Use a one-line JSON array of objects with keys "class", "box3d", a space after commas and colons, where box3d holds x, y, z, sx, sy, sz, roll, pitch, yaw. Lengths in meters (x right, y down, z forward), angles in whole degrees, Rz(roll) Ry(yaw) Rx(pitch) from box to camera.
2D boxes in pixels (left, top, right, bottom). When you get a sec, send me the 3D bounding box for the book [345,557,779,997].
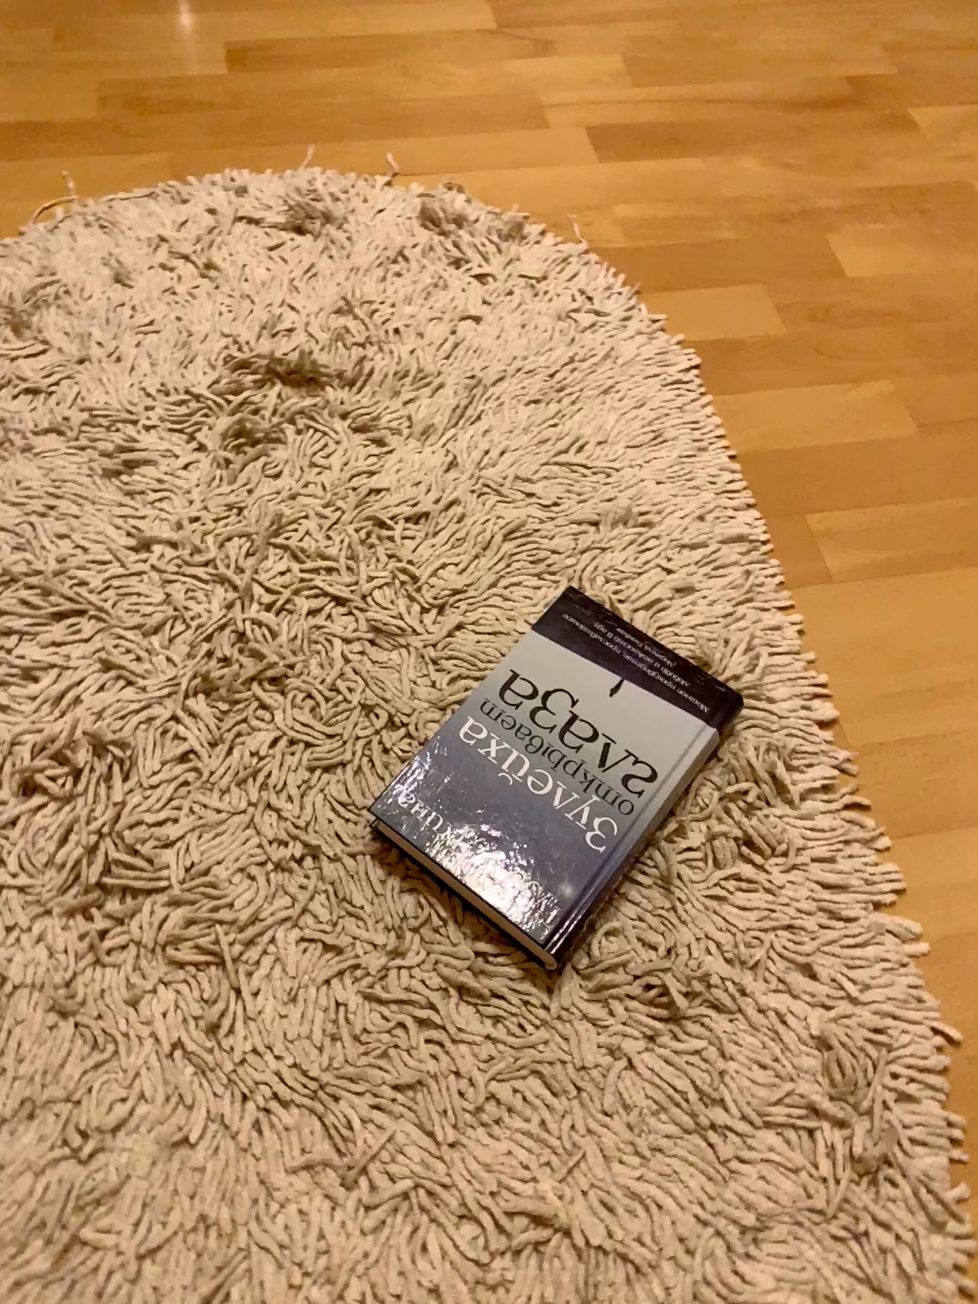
[{"class": "book", "box3d": [0.047, 0.061, 0.588, 0.150, 0.040, 0.221, 33, 61, 17]}]
